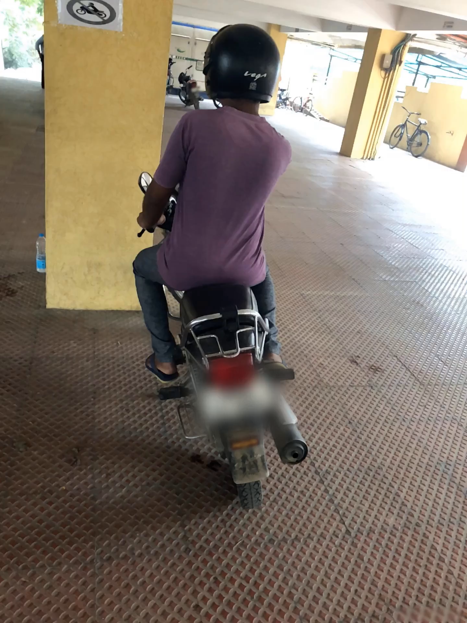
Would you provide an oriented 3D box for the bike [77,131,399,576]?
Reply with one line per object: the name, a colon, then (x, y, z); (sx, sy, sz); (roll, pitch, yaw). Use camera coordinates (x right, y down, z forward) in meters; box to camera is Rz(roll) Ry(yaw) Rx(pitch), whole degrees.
bike: (-0.242, 0.000, 2.140); (0.765, 1.194, 1.551); (1, 25, -17)
